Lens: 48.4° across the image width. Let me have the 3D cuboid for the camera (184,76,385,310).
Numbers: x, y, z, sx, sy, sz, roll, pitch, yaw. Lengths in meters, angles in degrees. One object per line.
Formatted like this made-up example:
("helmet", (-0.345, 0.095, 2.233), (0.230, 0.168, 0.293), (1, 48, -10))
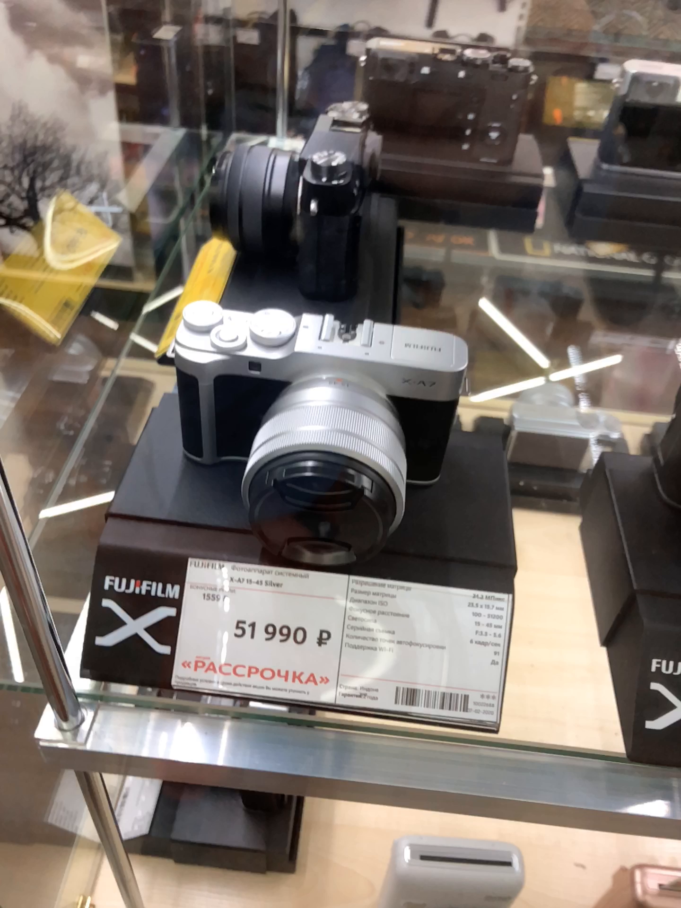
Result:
("camera", (-0.028, -0.155, 0.444), (0.097, 0.080, 0.116), (6, 44, 0))

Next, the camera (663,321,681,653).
("camera", (0.216, 0.012, 0.314), (0.115, 0.080, 0.096), (7, 44, 1))

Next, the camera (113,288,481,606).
("camera", (-0.013, -0.004, 0.314), (0.126, 0.080, 0.085), (8, 44, 2))
